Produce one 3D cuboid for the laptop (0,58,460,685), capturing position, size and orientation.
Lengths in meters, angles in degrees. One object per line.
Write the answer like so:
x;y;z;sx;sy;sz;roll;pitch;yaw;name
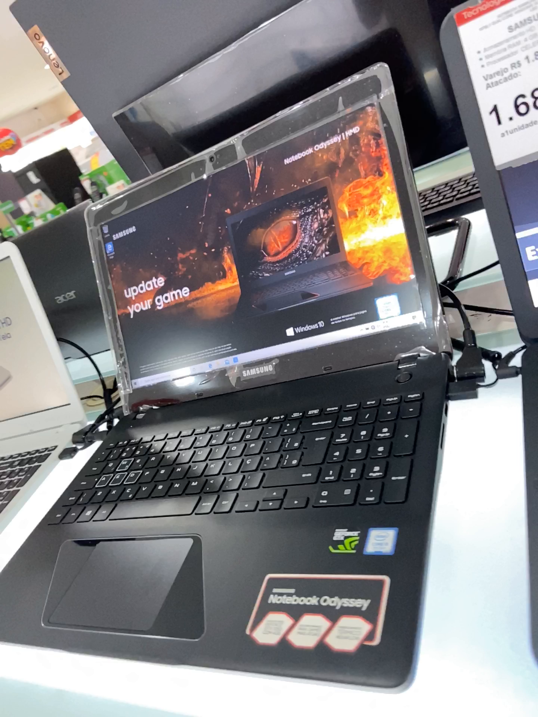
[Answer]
-0.079;-0.015;0.445;0.374;0.202;0.392;-14;29;31;laptop
